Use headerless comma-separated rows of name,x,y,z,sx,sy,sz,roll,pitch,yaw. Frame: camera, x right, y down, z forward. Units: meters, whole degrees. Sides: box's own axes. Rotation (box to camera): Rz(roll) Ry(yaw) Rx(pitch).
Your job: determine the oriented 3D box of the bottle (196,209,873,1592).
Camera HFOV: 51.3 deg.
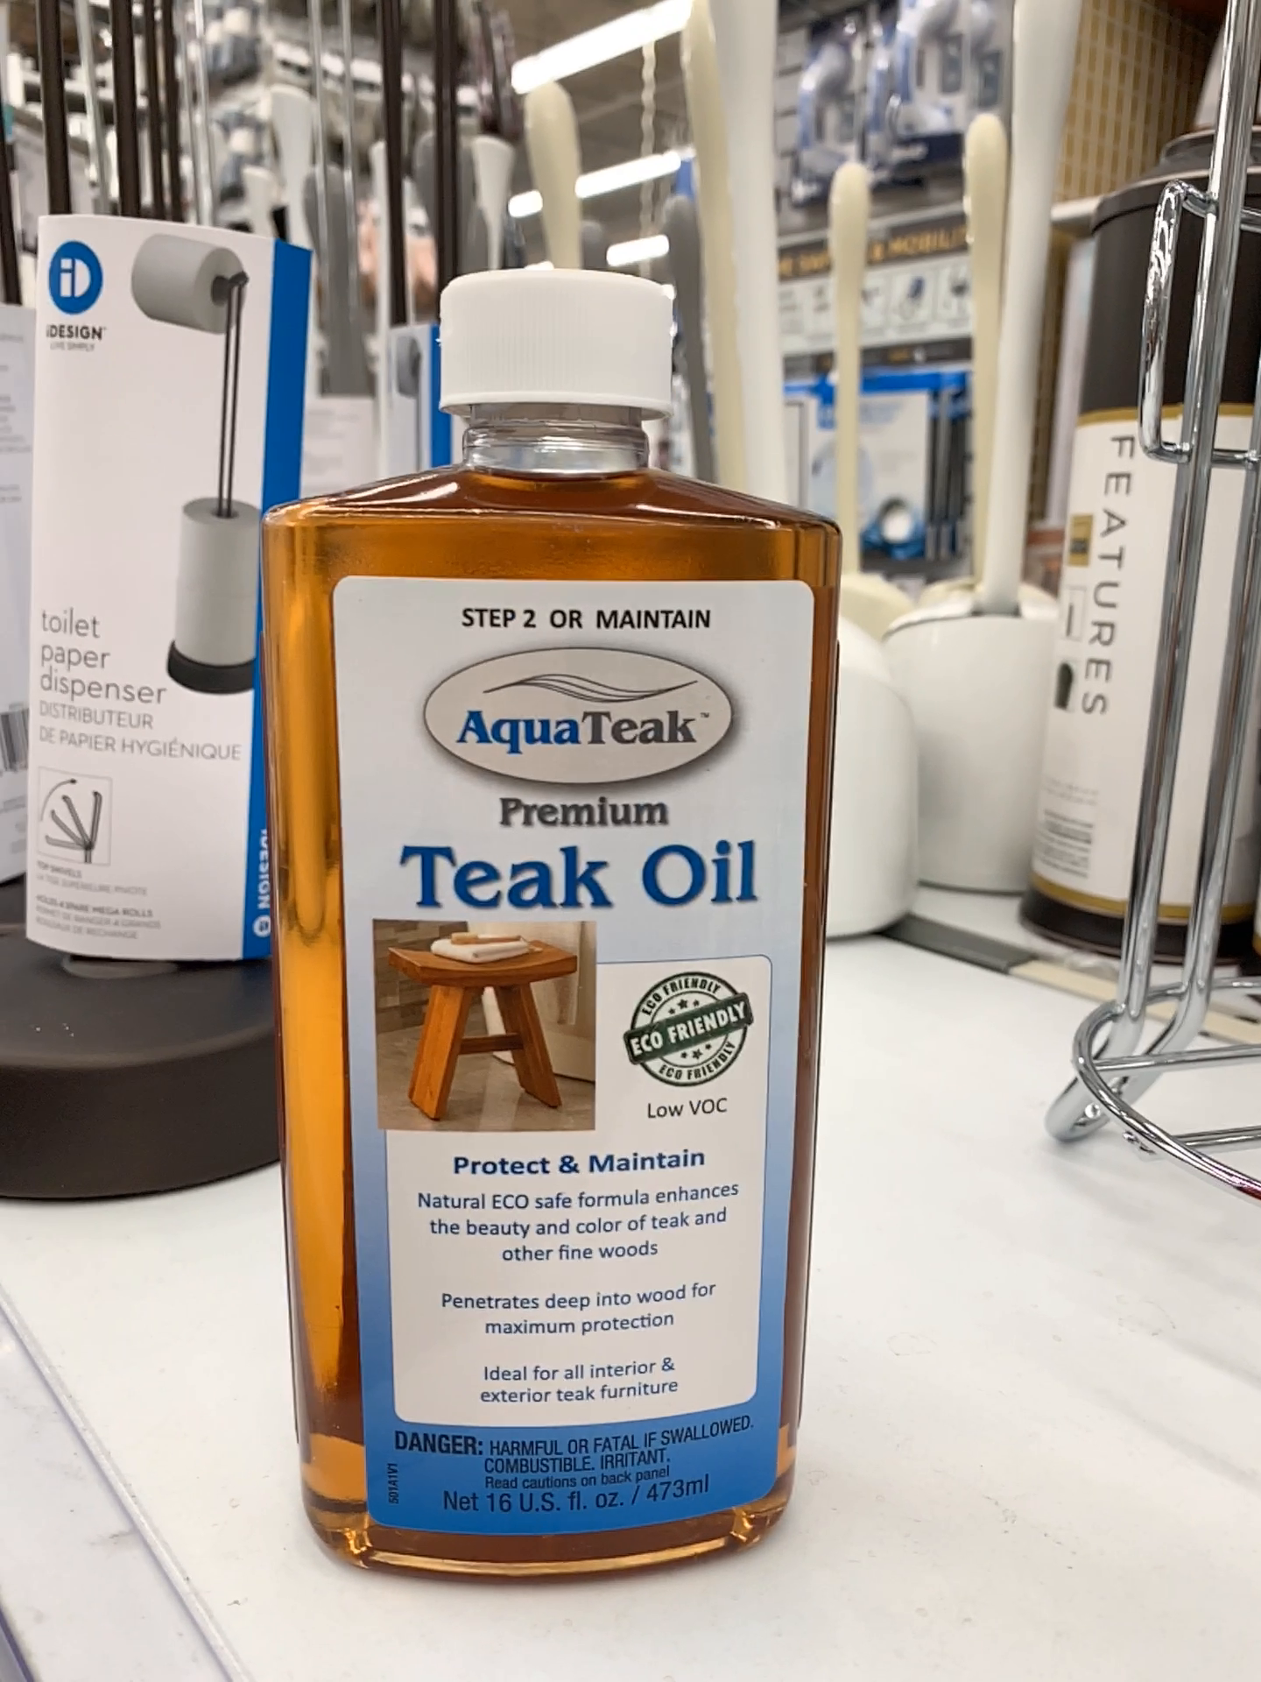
bottle,-0.015,0.015,0.216,0.088,0.207,0.046,-1,13,-6
